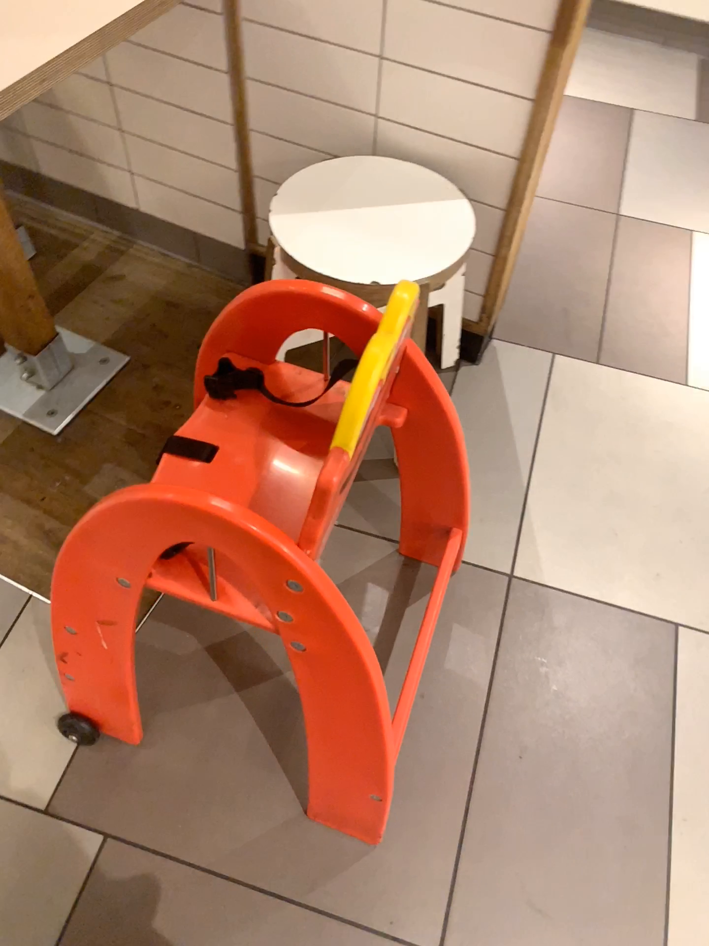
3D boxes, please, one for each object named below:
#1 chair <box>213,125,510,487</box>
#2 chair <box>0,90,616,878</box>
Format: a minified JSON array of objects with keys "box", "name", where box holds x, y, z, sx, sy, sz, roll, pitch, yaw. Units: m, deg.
[{"box":[0.013,-0.276,1.259,0.370,0.447,0.322,16,55,7],"name":"chair"},{"box":[-0.103,0.048,0.893,0.580,0.655,0.584,16,55,7],"name":"chair"}]
